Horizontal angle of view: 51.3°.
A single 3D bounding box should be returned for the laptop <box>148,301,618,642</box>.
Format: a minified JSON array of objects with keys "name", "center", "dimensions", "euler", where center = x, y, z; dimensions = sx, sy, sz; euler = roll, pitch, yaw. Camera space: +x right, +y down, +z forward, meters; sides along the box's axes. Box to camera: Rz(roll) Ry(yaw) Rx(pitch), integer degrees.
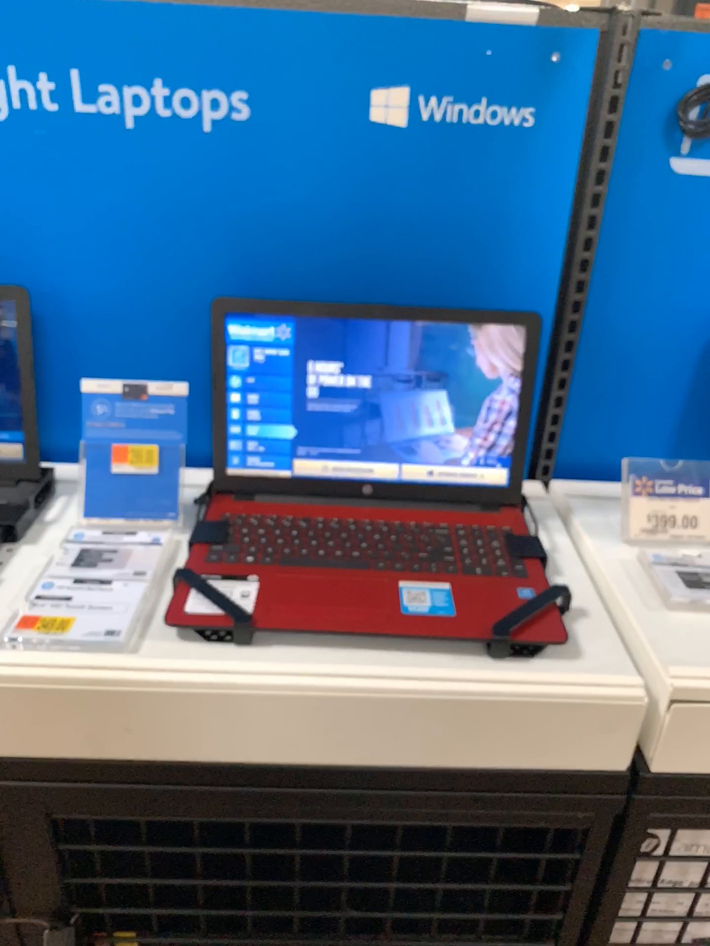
[{"name":"laptop","center":[0.020,-0.019,0.745],"dimensions":[0.364,0.223,0.281],"euler":[3,27,0]}]
